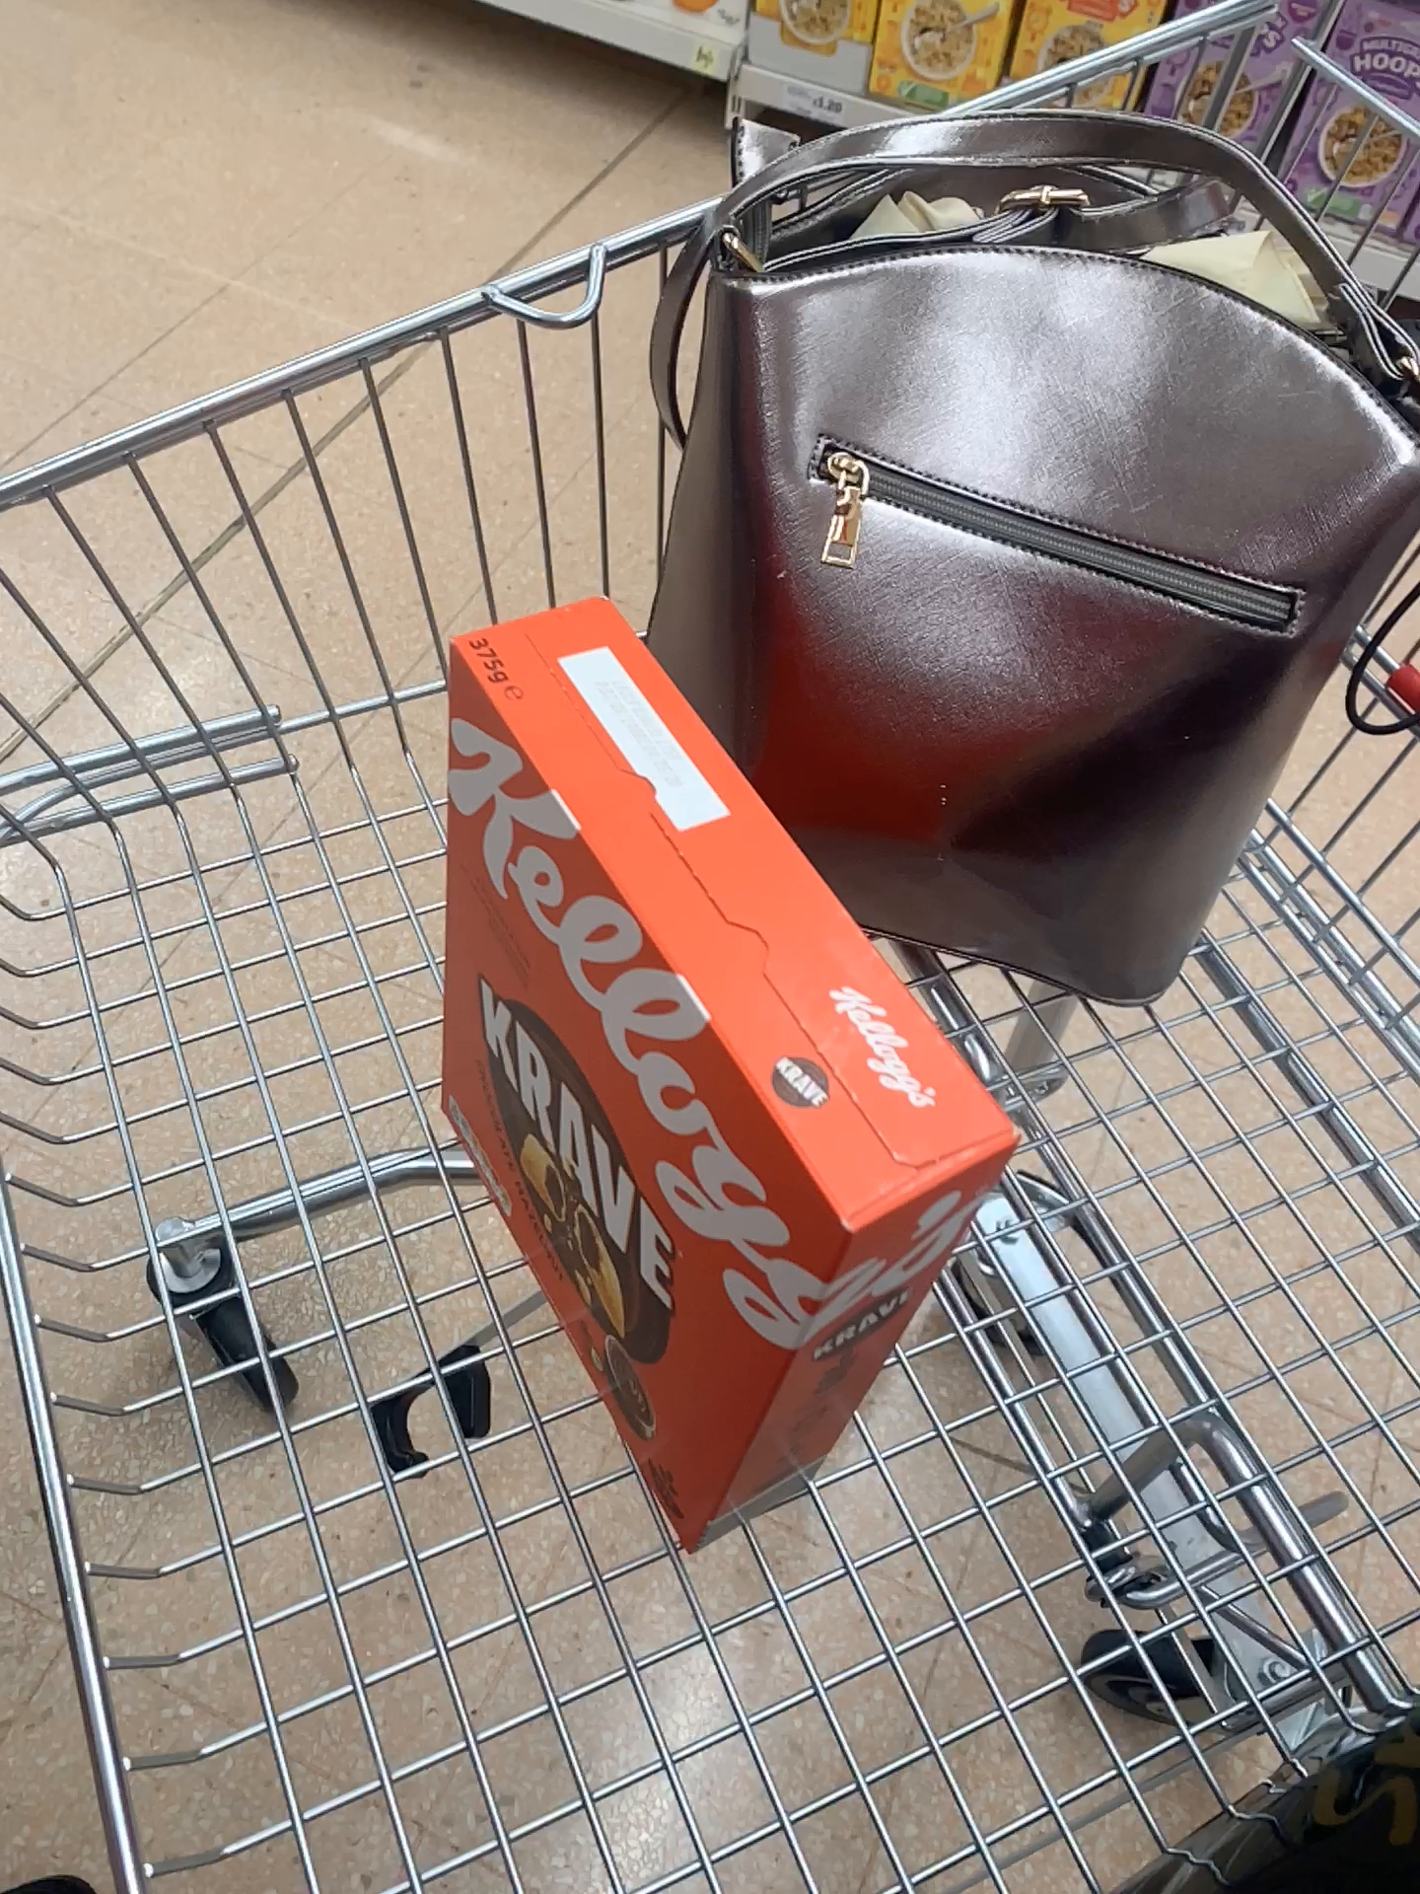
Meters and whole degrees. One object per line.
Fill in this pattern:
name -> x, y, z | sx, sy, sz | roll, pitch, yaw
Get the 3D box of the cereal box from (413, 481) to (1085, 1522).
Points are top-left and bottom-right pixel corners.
cereal box -> -0.016, 0.028, 0.421 | 0.050, 0.228, 0.211 | -22, 61, -24
